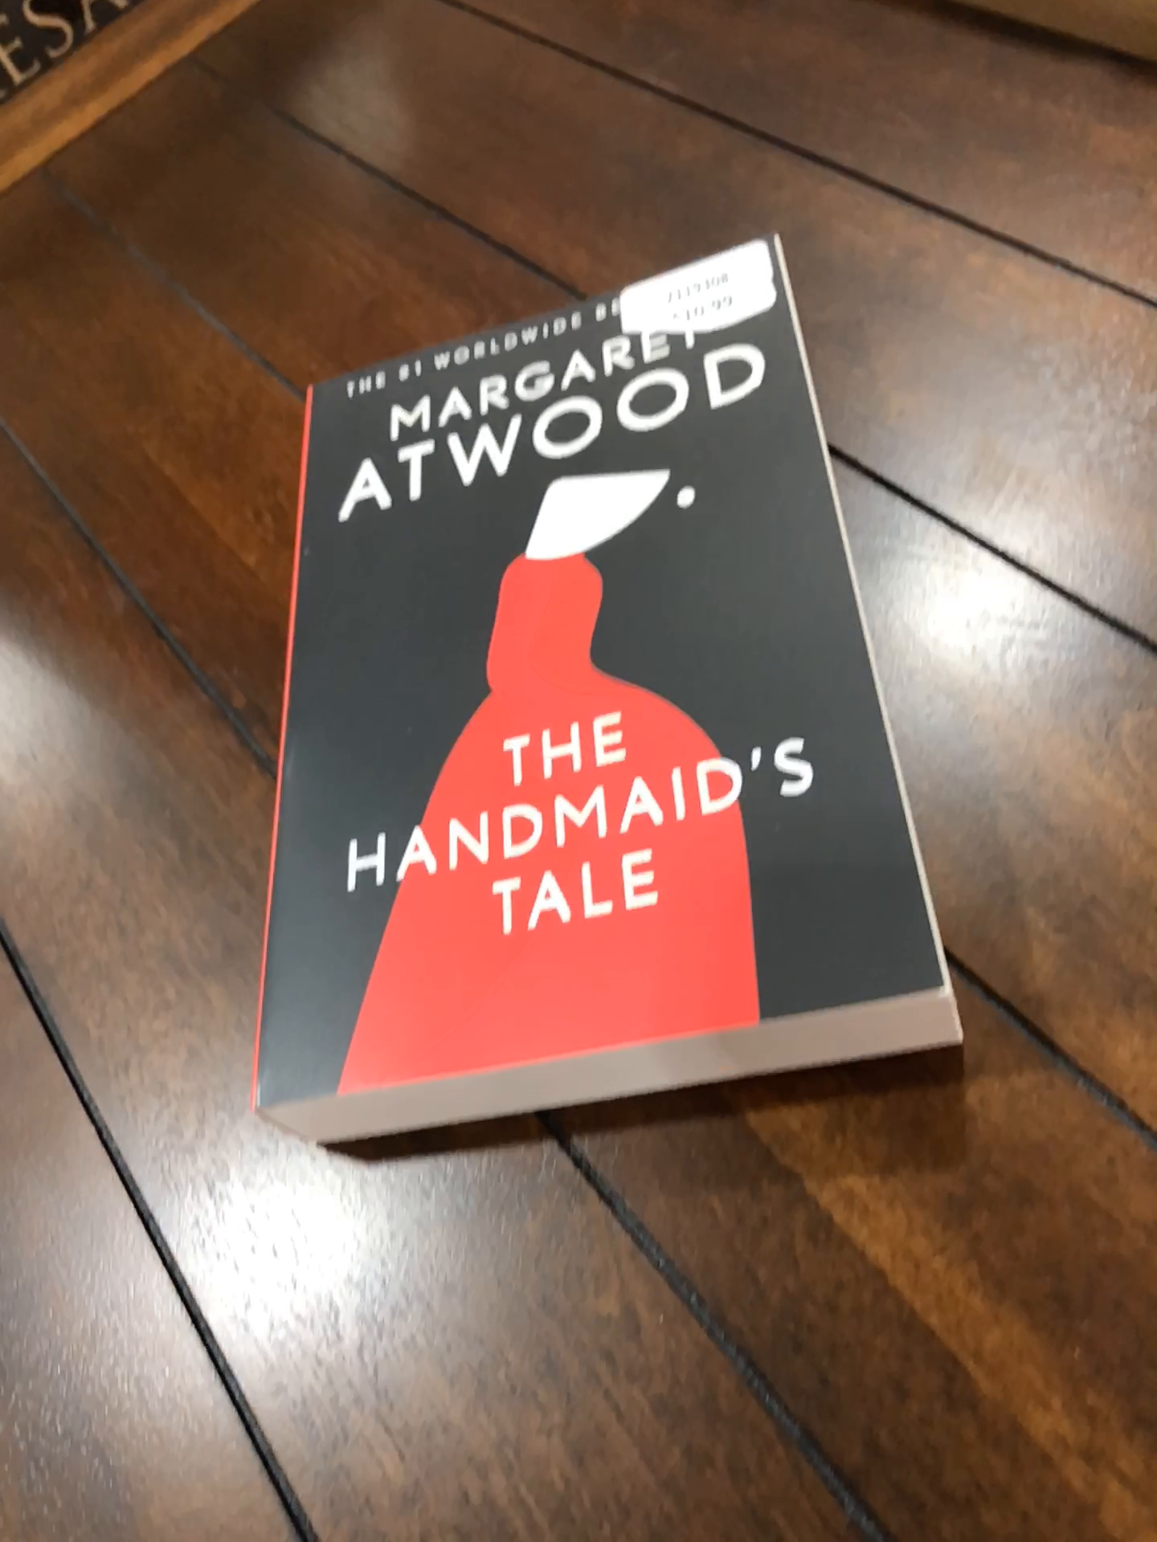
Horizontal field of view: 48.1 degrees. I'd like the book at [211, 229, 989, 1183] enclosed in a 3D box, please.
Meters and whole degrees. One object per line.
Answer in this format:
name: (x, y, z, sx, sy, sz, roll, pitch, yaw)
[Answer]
book: (-0.003, -0.025, 0.291, 0.138, 0.030, 0.207, -13, 56, 13)
